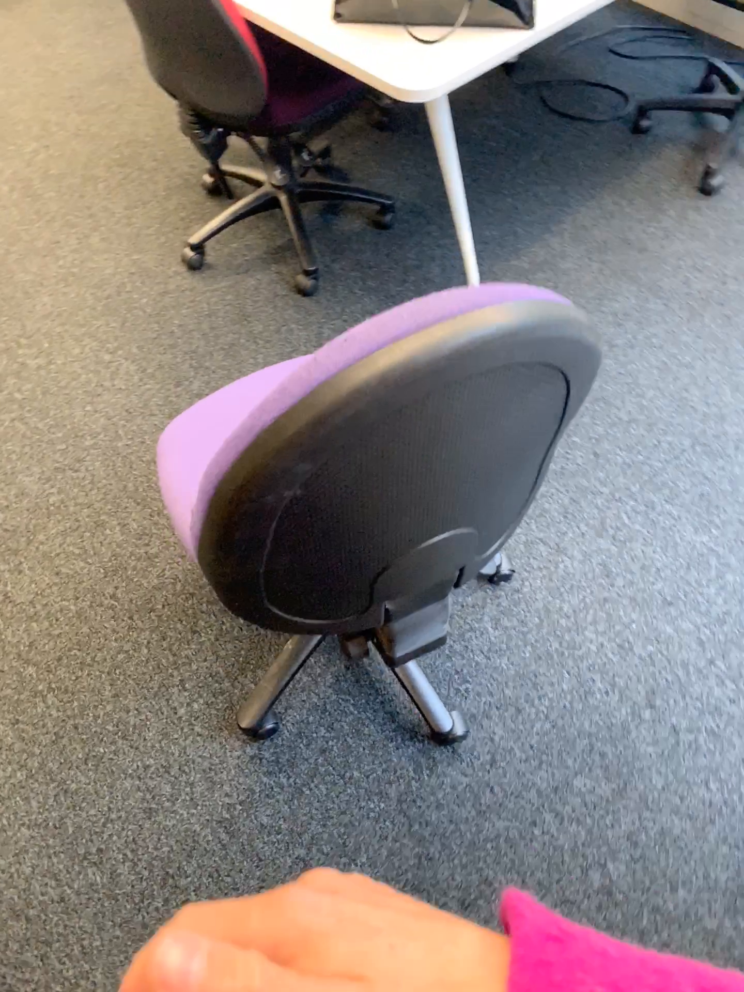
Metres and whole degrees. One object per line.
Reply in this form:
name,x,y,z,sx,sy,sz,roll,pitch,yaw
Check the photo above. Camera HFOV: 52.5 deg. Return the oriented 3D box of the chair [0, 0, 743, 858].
chair,-0.039,-0.043,1.075,0.669,0.986,0.638,-25,59,-13
